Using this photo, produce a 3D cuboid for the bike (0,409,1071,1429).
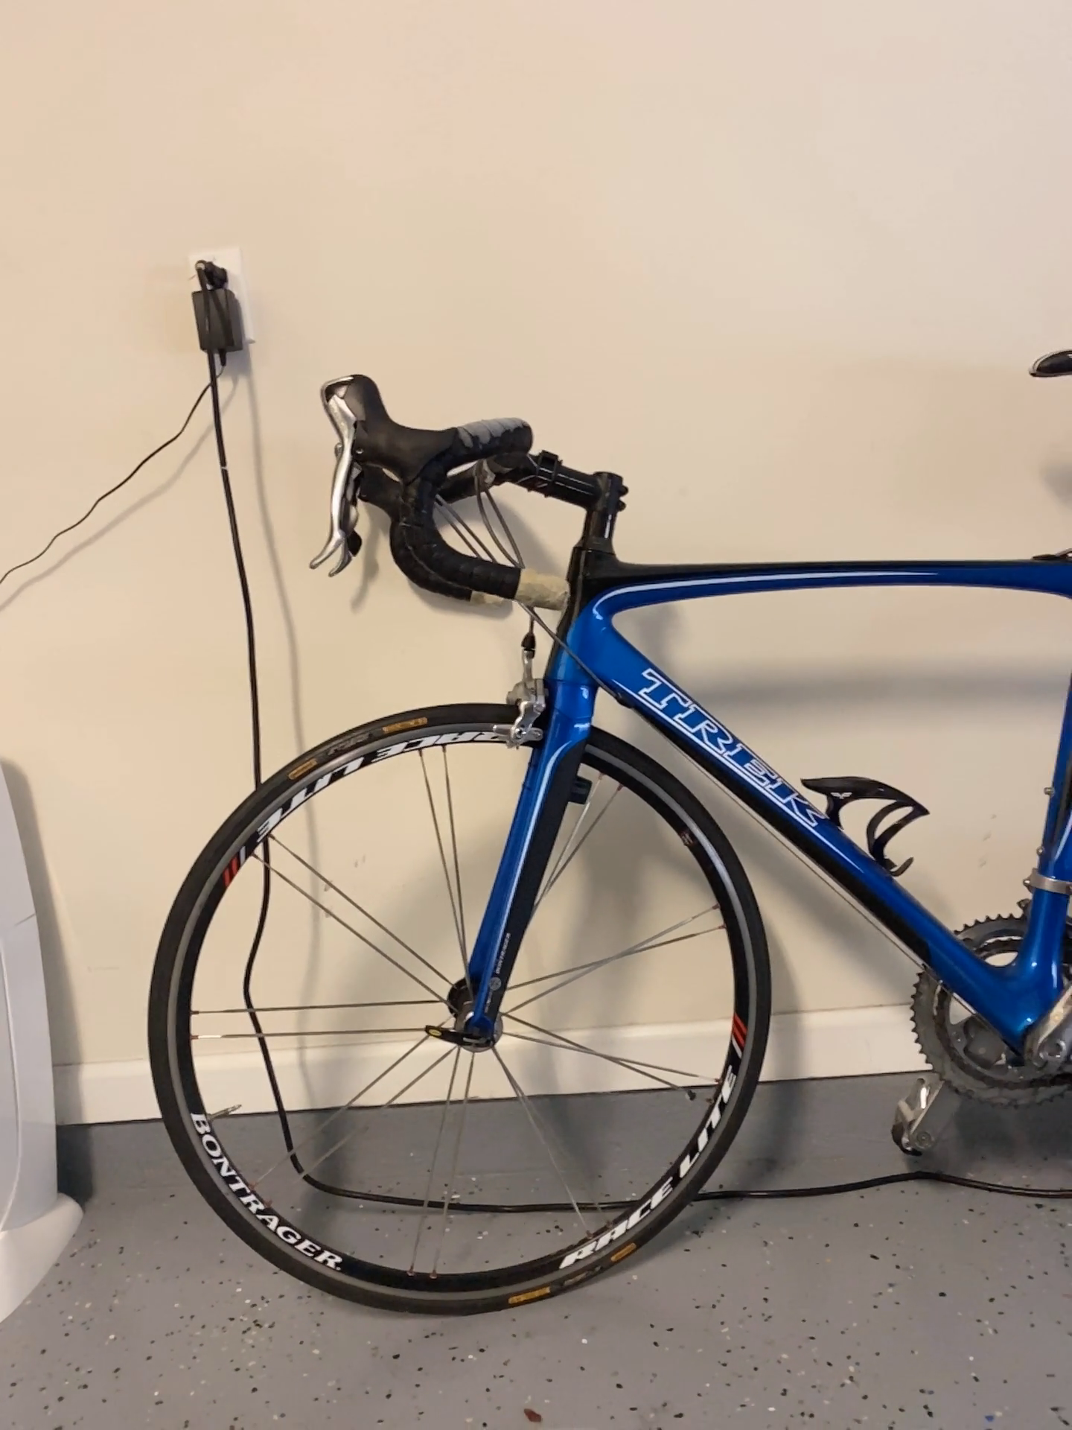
[{"bbox_3d":[0.478,0.189,1.047,1.638,0.884,0.401,-3,7,-6],"label":"bike"}]
